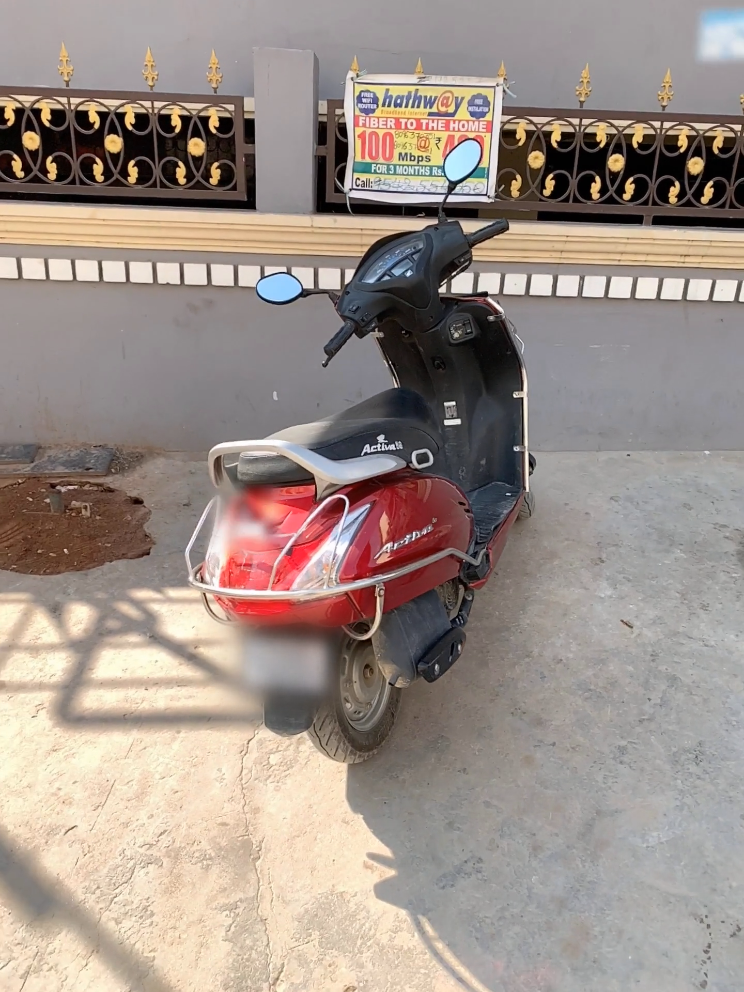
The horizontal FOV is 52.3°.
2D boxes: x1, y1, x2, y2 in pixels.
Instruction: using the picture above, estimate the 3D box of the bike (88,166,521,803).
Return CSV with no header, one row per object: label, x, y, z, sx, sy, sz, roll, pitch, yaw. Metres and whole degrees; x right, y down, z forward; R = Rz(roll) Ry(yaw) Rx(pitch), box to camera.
bike,-0.026,-0.303,2.318,0.623,1.164,1.762,9,27,15
